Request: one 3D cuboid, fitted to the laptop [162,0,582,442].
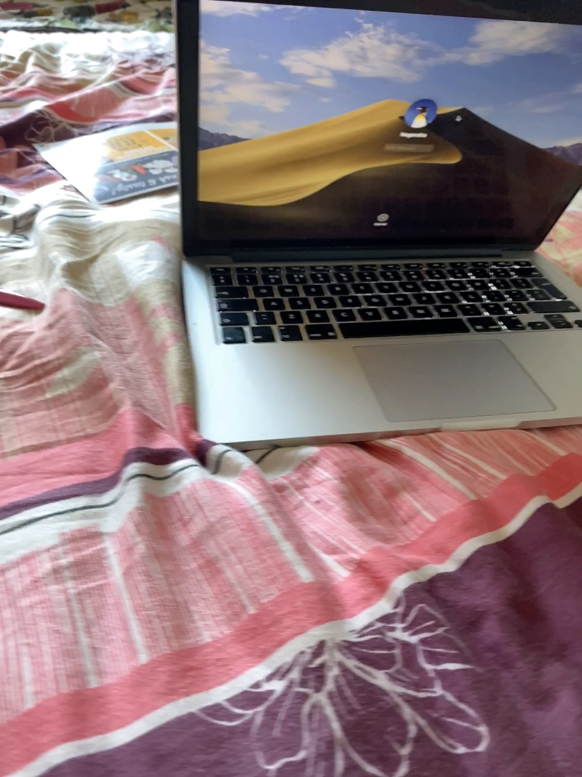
[{"bbox_3d":[0.089,-0.118,0.353,0.303,0.191,0.203,-4,40,-9],"label":"laptop"}]
